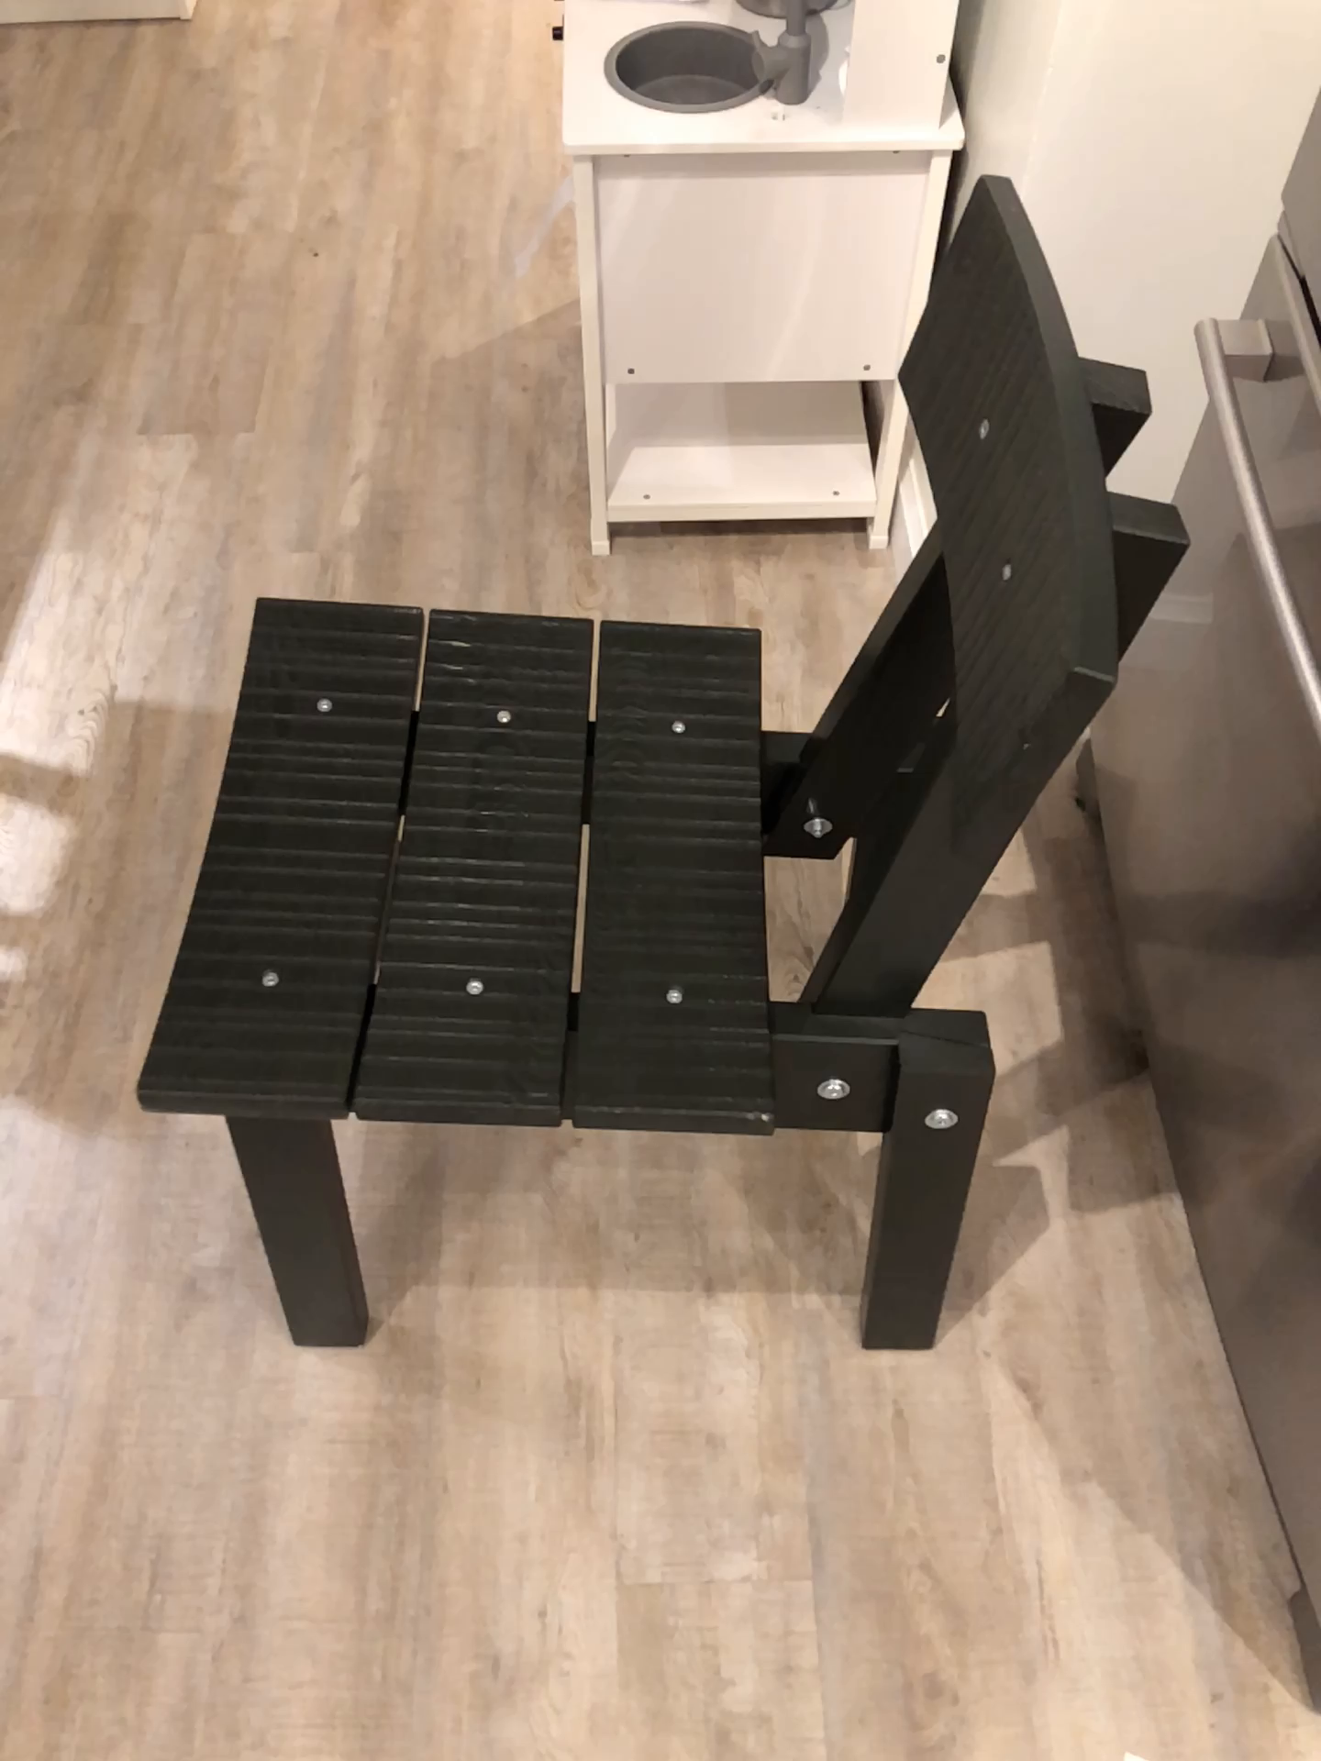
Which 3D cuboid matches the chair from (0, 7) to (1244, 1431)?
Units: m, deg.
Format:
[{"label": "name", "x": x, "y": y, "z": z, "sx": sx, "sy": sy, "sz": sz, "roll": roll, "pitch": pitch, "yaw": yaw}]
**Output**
[{"label": "chair", "x": -0.056, "y": -0.019, "z": 0.941, "sx": 0.510, "sy": 0.796, "sz": 0.523, "roll": 2, "pitch": 56, "yaw": 2}]
